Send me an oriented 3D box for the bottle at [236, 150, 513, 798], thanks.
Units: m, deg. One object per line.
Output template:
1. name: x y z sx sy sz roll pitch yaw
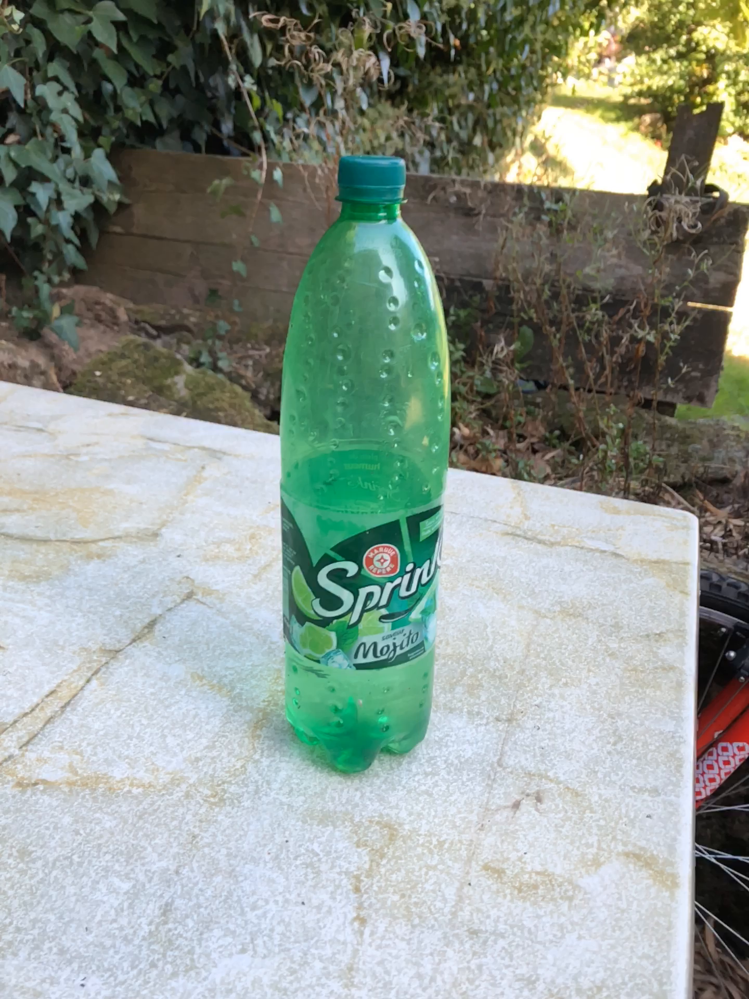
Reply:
1. bottle: -0.013 -0.006 0.422 0.090 0.308 0.090 3 26 -2
